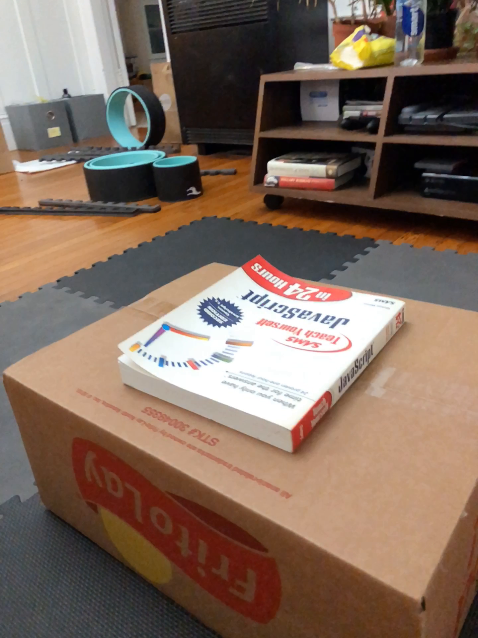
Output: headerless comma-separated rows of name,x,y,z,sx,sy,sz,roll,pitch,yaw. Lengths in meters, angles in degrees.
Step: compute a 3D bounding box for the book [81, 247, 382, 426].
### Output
book,0.002,-0.005,0.534,0.200,0.030,0.241,14,35,34
